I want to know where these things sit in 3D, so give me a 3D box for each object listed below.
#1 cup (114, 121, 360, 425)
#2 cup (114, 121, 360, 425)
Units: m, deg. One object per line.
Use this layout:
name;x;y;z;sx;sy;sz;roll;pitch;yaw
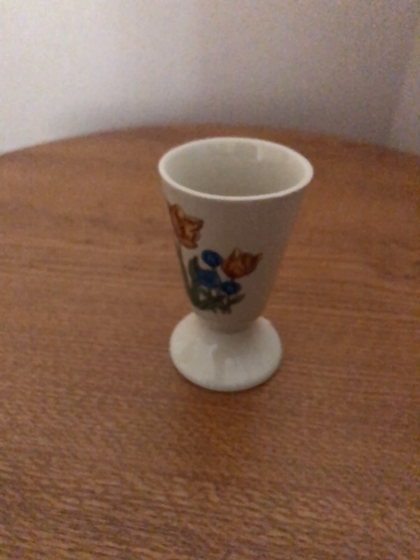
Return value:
cup;0.010;-0.006;0.255;0.080;0.119;0.080;1;38;-1
cup;0.010;-0.006;0.255;0.080;0.119;0.080;1;38;-1
